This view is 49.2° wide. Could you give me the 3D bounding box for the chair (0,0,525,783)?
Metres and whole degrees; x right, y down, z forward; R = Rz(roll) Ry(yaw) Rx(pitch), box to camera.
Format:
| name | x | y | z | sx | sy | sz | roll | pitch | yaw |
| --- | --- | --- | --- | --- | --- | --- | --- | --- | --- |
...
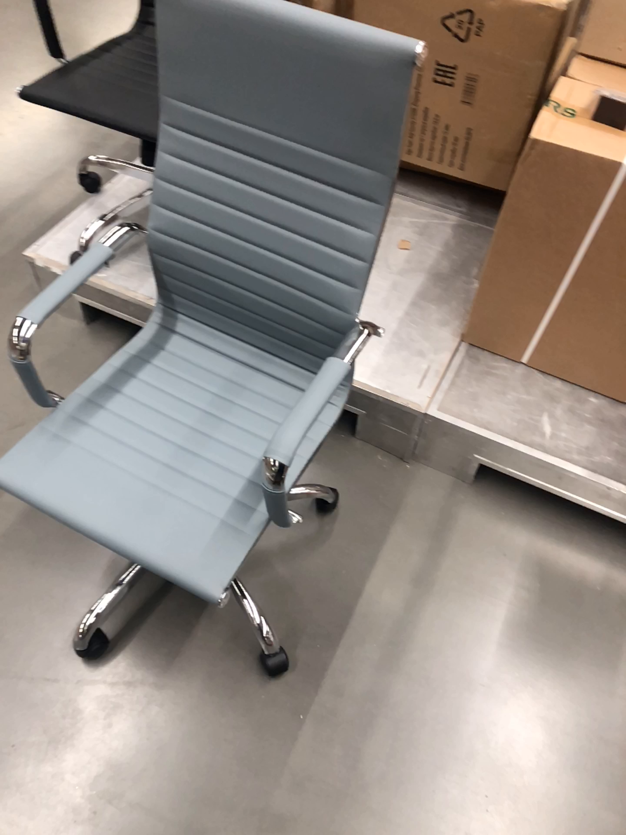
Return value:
| name | x | y | z | sx | sy | sz | roll | pitch | yaw |
| --- | --- | --- | --- | --- | --- | --- | --- | --- | --- |
| chair | -0.251 | -0.017 | 1.249 | 0.711 | 1.213 | 0.754 | 26 | 54 | 15 |
